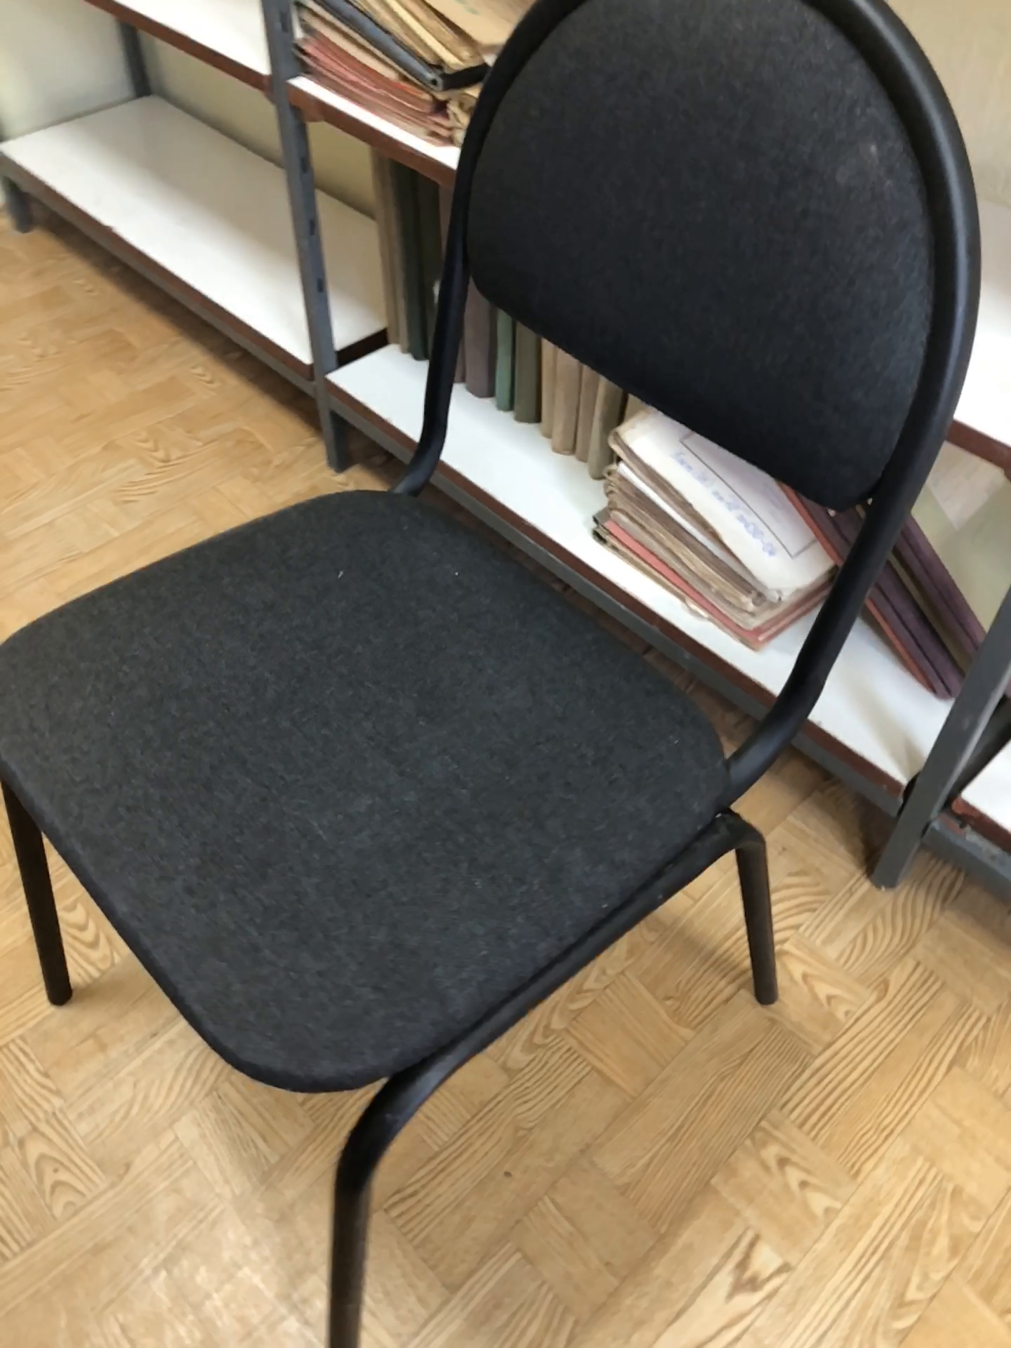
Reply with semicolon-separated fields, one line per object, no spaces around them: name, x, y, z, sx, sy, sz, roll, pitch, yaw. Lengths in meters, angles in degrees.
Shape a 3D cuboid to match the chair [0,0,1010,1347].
chair;-0.075;0.028;0.756;0.562;0.836;0.473;-34;57;-26
